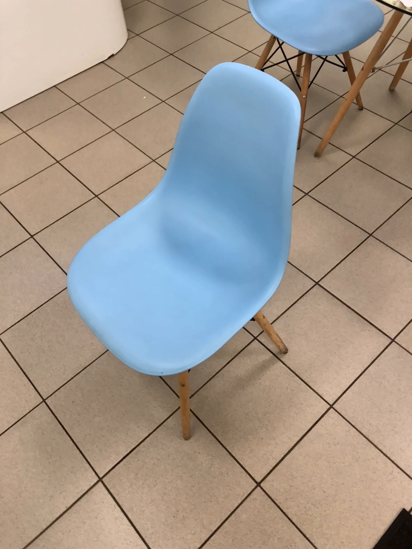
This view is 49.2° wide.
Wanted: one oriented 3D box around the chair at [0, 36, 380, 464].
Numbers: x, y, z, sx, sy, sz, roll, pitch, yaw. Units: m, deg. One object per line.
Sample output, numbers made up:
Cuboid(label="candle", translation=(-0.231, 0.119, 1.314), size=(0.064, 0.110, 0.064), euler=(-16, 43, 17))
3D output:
Cuboid(label="chair", translation=(-0.039, -0.009, 1.114), size=(0.571, 0.777, 0.471), euler=(-38, 61, -21))
